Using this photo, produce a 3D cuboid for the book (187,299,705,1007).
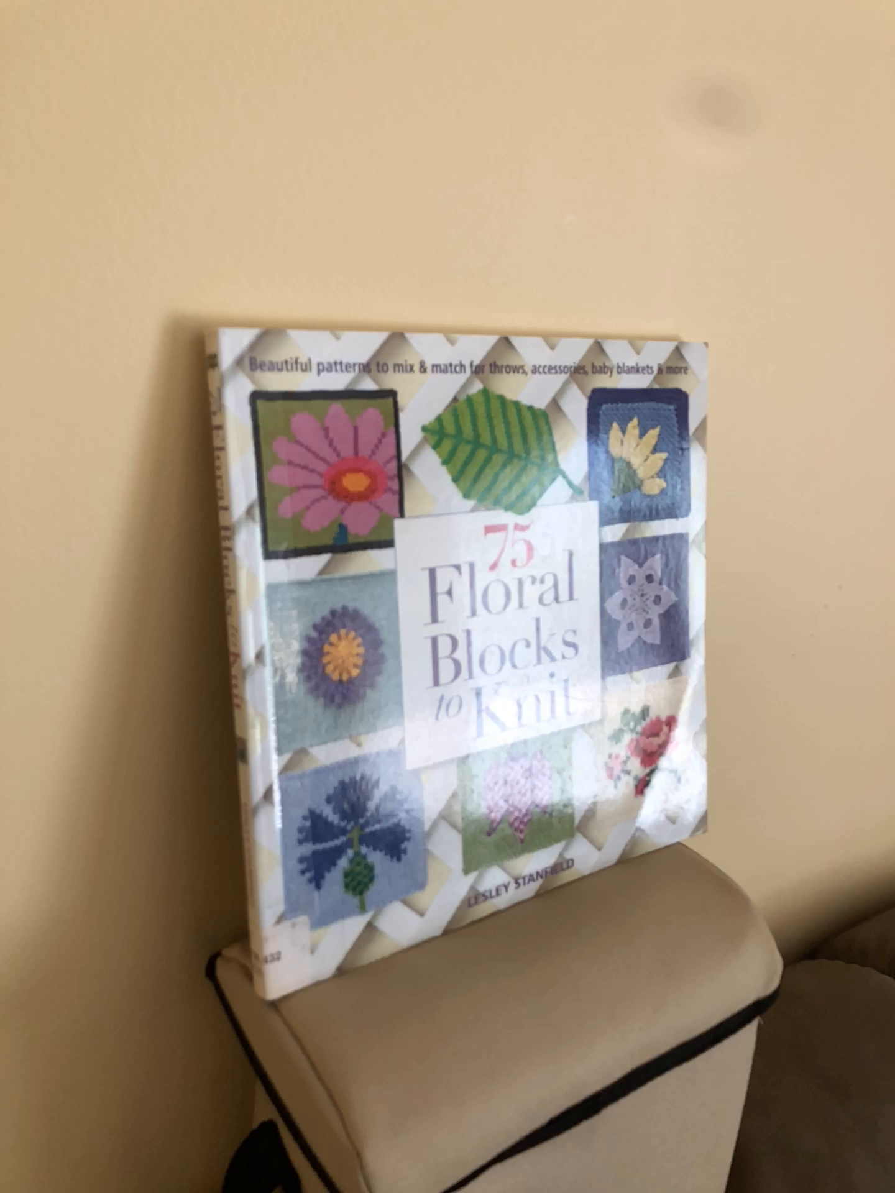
[{"bbox_3d":[0.018,0.009,0.368,0.218,0.215,0.020,-7,8,-37],"label":"book"}]
